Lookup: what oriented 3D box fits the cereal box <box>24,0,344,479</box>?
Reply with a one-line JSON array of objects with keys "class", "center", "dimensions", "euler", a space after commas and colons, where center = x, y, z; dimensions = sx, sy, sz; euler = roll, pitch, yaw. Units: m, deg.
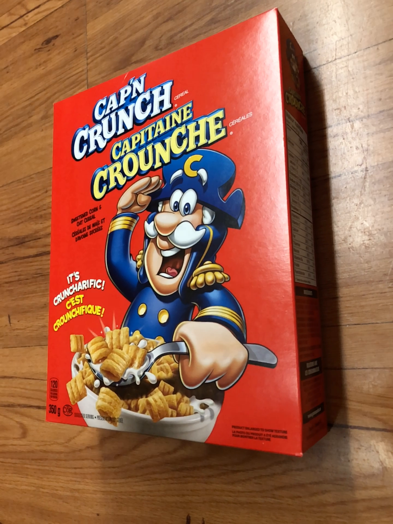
[{"class": "cereal box", "center": [-0.024, -0.010, 0.312], "dimensions": [0.221, 0.060, 0.260], "euler": [-7, 80, 32]}]
